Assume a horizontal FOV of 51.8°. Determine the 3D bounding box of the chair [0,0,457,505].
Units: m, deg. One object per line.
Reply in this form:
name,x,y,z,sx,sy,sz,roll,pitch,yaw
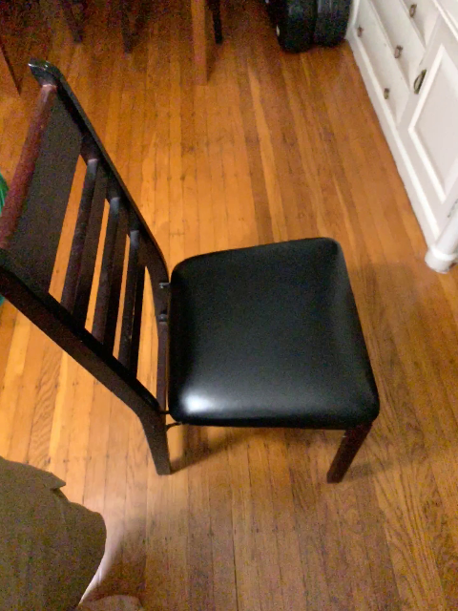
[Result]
chair,0.041,-0.001,0.868,0.550,0.867,0.492,-4,57,-3
